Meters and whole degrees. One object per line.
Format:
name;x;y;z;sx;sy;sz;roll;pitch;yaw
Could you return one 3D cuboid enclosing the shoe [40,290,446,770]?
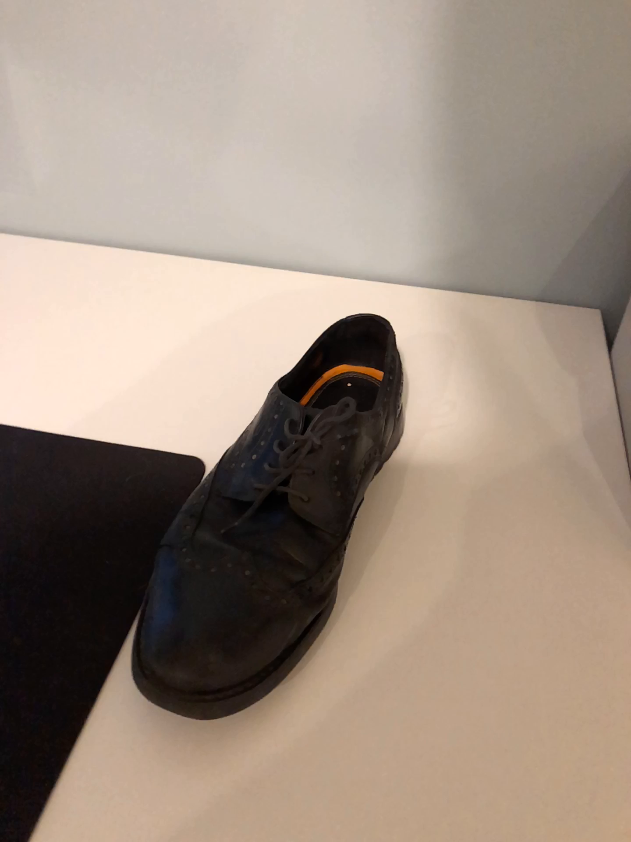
shoe;-0.018;0.036;0.453;0.119;0.079;0.315;16;43;16
